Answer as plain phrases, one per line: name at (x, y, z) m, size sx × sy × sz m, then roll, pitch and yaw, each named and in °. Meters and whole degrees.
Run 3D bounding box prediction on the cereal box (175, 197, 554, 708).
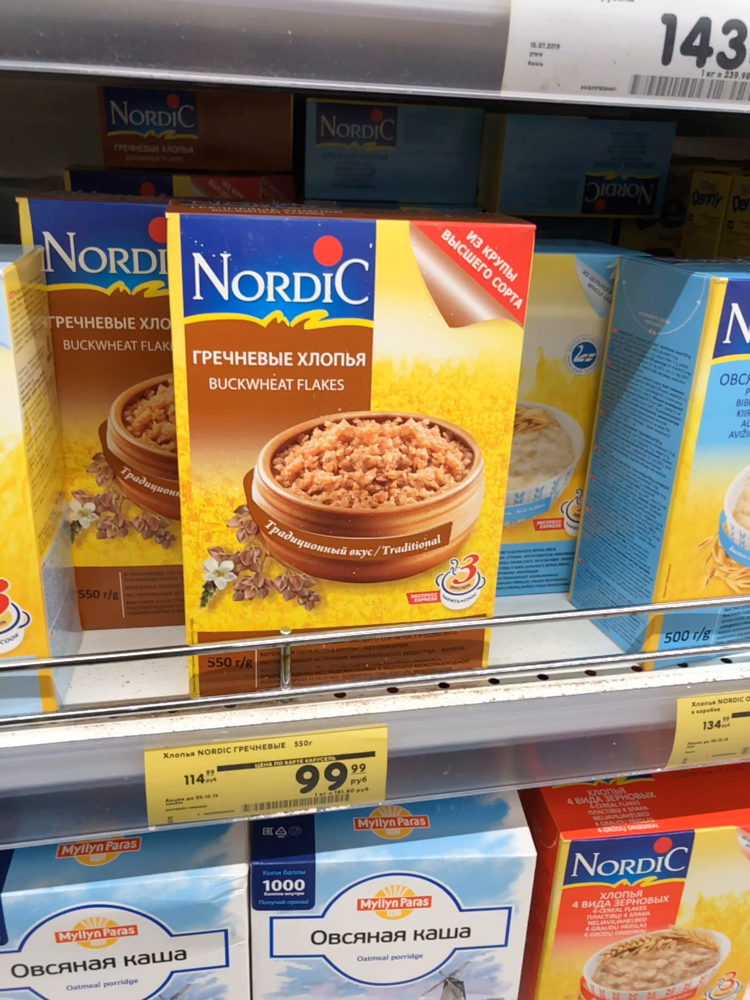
cereal box at (-0.011, -0.021, 0.373) m, size 0.140 × 0.209 × 0.070 m, roll -2°, pitch 22°, yaw -11°
